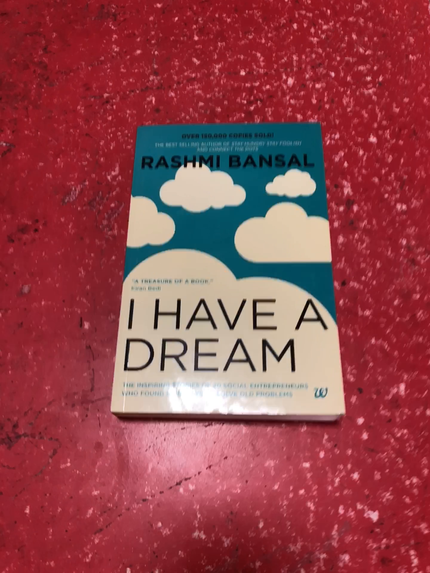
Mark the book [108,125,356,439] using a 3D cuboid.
[{"bbox_3d":[0.010,-0.010,0.302,0.130,0.030,0.200,0,68,3],"label":"book"}]
